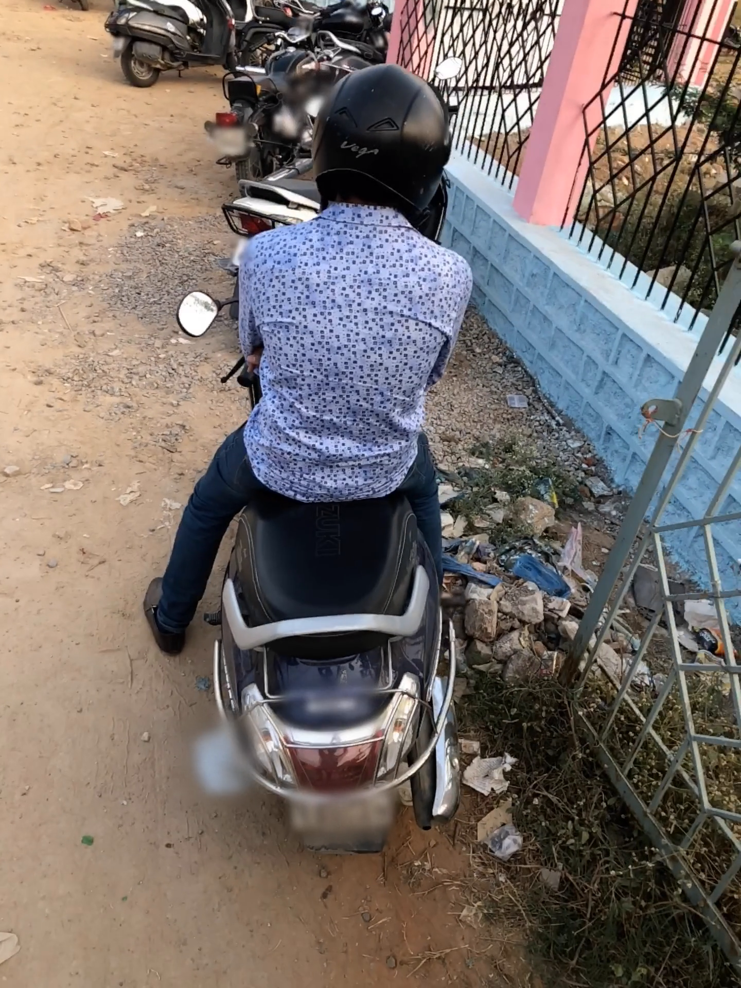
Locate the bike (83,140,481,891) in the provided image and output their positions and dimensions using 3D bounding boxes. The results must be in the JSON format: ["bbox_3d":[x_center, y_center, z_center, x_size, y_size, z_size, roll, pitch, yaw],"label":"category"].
[{"bbox_3d":[-0.375,-0.019,2.015,0.593,1.013,1.400,-1,42,-16],"label":"bike"}]
